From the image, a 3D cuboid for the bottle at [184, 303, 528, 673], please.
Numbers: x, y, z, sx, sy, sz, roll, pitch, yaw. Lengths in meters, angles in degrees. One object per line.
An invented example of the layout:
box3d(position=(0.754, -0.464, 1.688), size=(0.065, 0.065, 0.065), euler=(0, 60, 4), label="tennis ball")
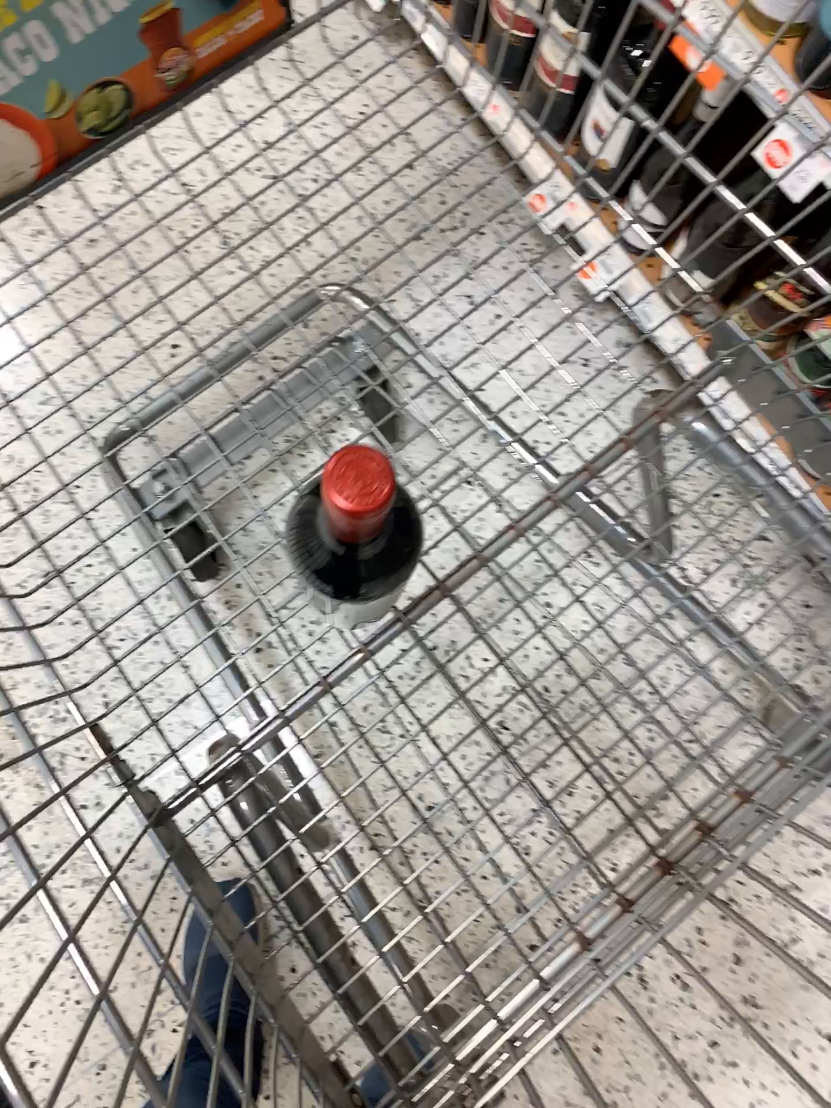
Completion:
box3d(position=(-0.030, -0.007, 0.516), size=(0.100, 0.339, 0.100), euler=(0, 79, -2), label="bottle")
